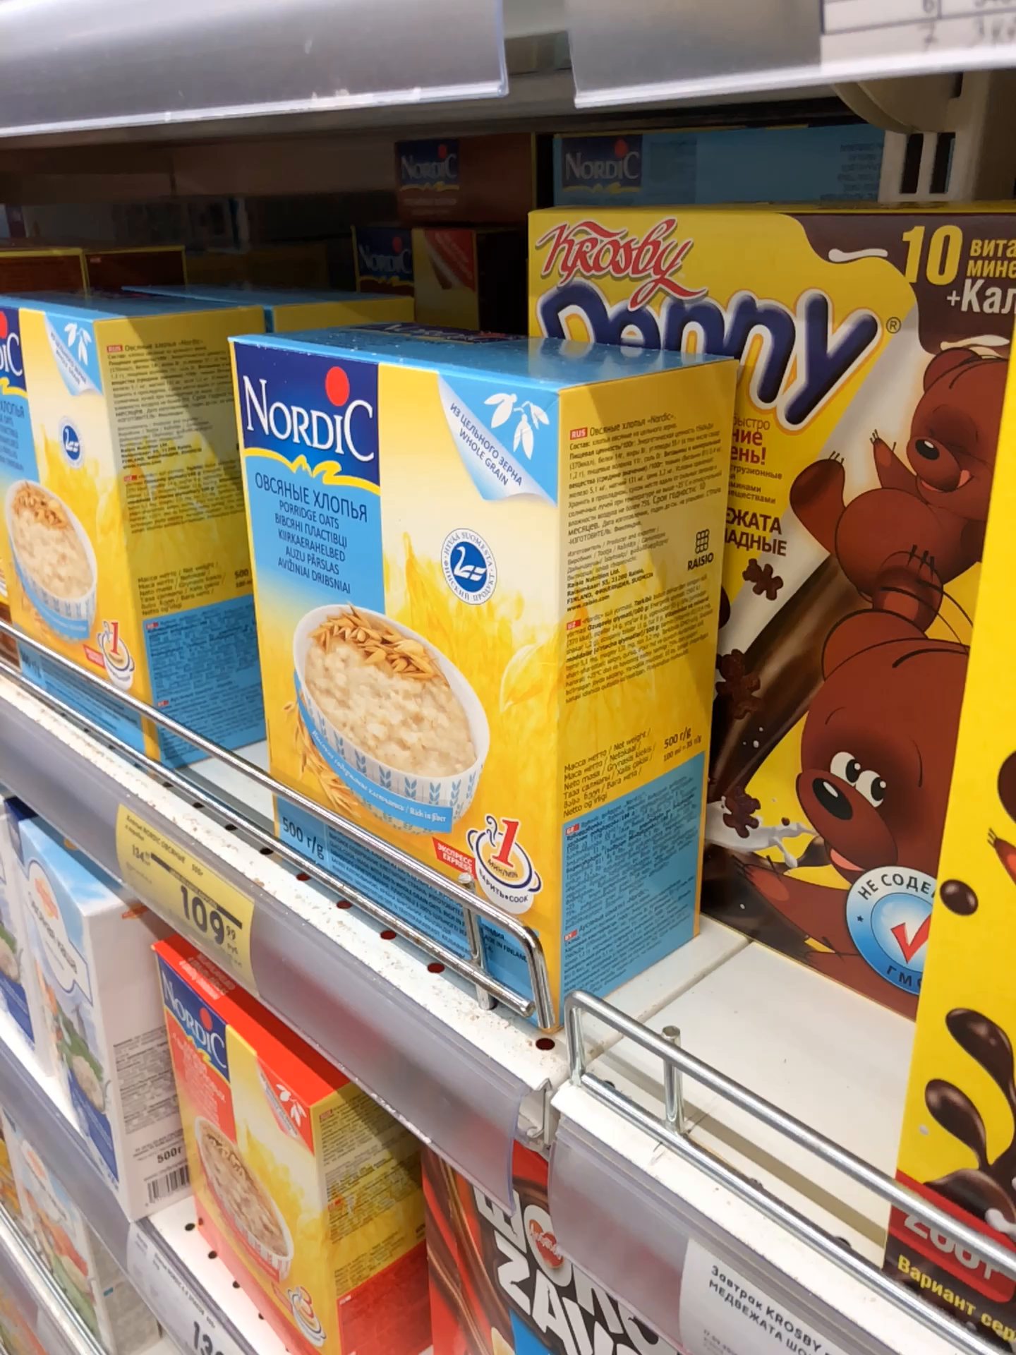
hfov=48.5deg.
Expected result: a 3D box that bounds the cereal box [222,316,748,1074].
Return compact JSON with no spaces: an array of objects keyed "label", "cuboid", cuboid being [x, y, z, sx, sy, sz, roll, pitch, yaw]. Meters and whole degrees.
[{"label":"cereal box","cuboid":[-0.012,-0.006,0.366,0.070,0.199,0.150,-21,30,-39]}]
